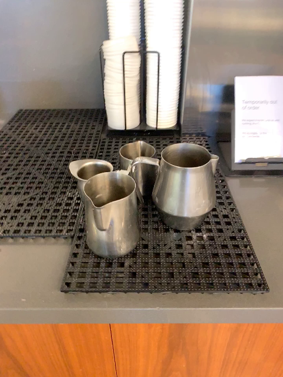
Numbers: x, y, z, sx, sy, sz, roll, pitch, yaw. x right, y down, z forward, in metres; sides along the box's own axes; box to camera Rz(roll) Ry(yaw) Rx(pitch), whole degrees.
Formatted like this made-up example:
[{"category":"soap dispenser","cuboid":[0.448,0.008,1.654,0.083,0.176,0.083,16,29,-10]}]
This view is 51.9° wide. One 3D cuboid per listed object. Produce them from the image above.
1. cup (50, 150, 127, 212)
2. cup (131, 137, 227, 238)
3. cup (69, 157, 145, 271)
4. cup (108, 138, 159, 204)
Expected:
[{"category":"cup","cuboid":[-0.090,-0.016,0.521,0.110,0.070,0.070,9,37,13]},{"category":"cup","cuboid":[0.065,-0.005,0.502,0.140,0.119,0.101,8,37,12]},{"category":"cup","cuboid":[-0.044,0.036,0.455,0.080,0.119,0.121,6,36,9]},{"category":"cup","cuboid":[-0.011,-0.036,0.549,0.070,0.070,0.111,6,36,10]}]
